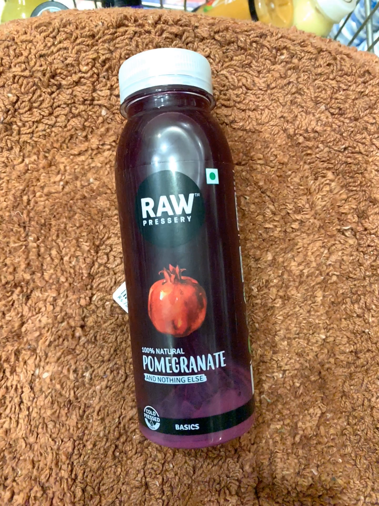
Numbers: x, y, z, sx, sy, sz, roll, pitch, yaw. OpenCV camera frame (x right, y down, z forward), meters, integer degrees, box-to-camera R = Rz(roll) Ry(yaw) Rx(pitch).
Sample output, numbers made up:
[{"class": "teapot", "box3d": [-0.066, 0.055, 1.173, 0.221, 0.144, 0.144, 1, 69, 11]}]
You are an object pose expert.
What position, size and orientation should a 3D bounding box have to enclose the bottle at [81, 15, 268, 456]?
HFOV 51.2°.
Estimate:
[{"class": "bottle", "box3d": [-0.003, -0.003, 0.148, 0.050, 0.040, 0.140, -5, 98, -2]}]
